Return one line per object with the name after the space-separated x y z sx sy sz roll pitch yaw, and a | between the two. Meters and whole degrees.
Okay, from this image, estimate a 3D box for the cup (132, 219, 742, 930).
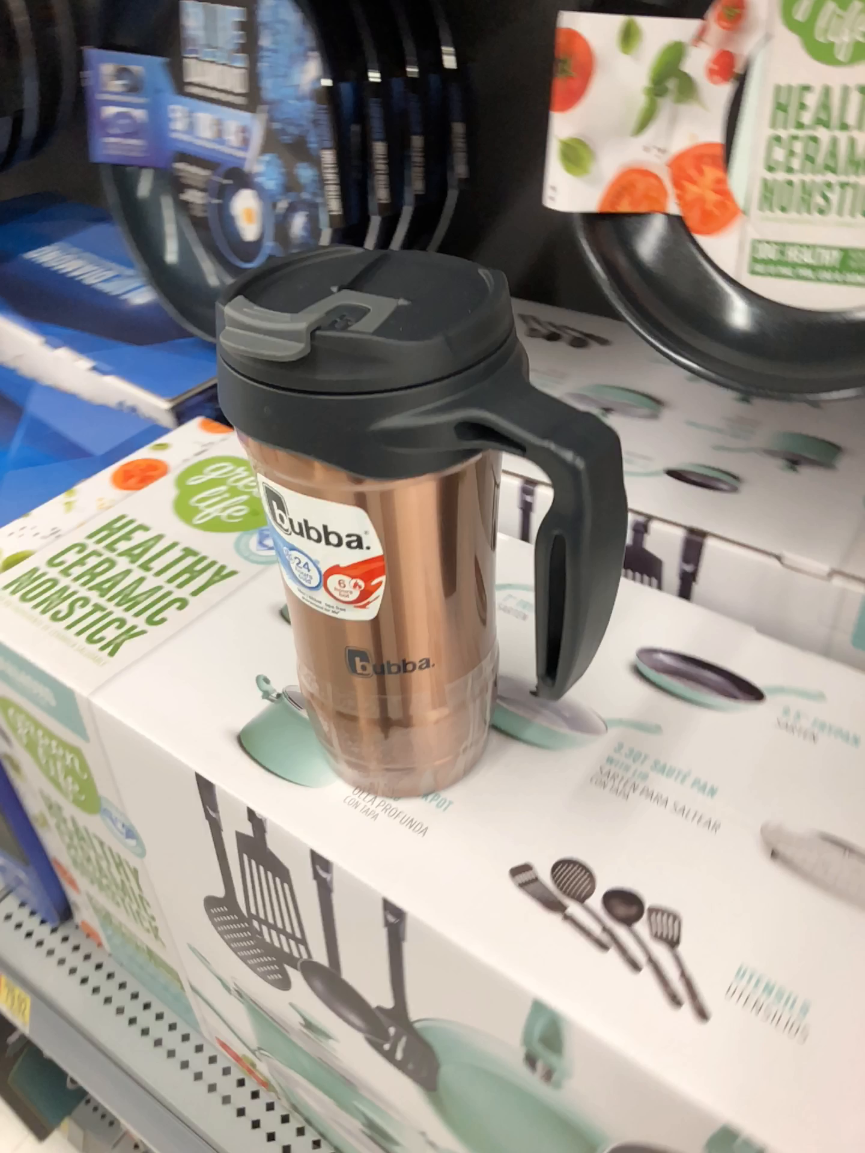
0.005 -0.004 0.324 0.144 0.182 0.093 24 47 32 | cup
